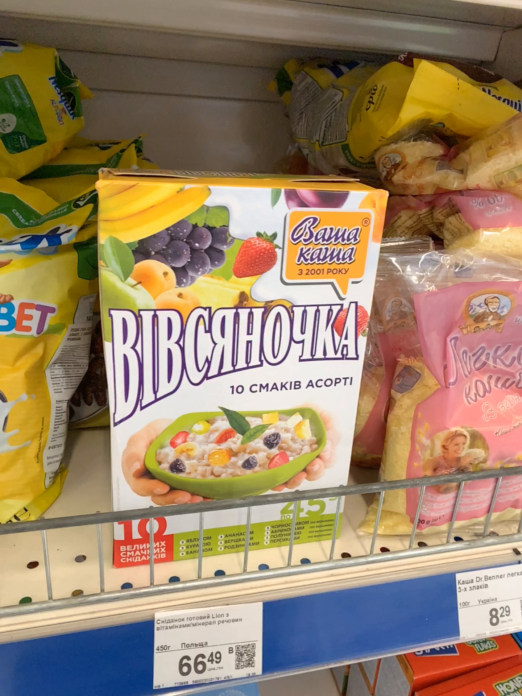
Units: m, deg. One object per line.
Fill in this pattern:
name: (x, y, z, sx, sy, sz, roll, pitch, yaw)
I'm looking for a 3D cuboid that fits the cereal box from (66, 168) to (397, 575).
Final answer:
cereal box: (-0.021, 0.012, 0.310, 0.150, 0.208, 0.070, -2, 21, -13)
